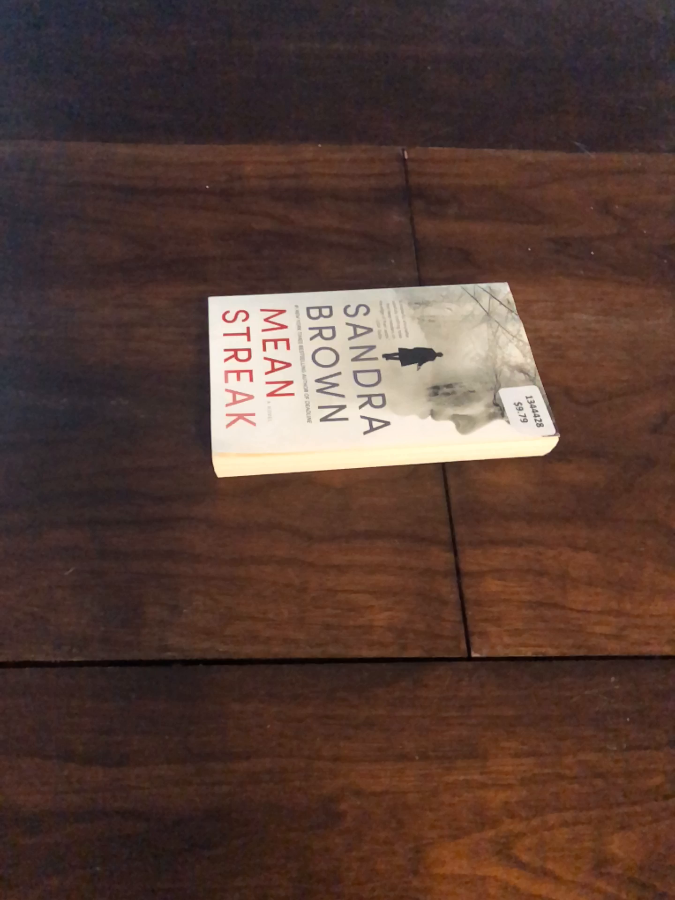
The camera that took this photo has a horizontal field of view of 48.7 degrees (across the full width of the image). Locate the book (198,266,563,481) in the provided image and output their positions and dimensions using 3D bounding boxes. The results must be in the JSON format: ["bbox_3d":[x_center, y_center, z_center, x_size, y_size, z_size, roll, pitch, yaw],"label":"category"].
[{"bbox_3d":[0.019,-0.053,0.471,0.207,0.030,0.137,-4,55,-4],"label":"book"}]
